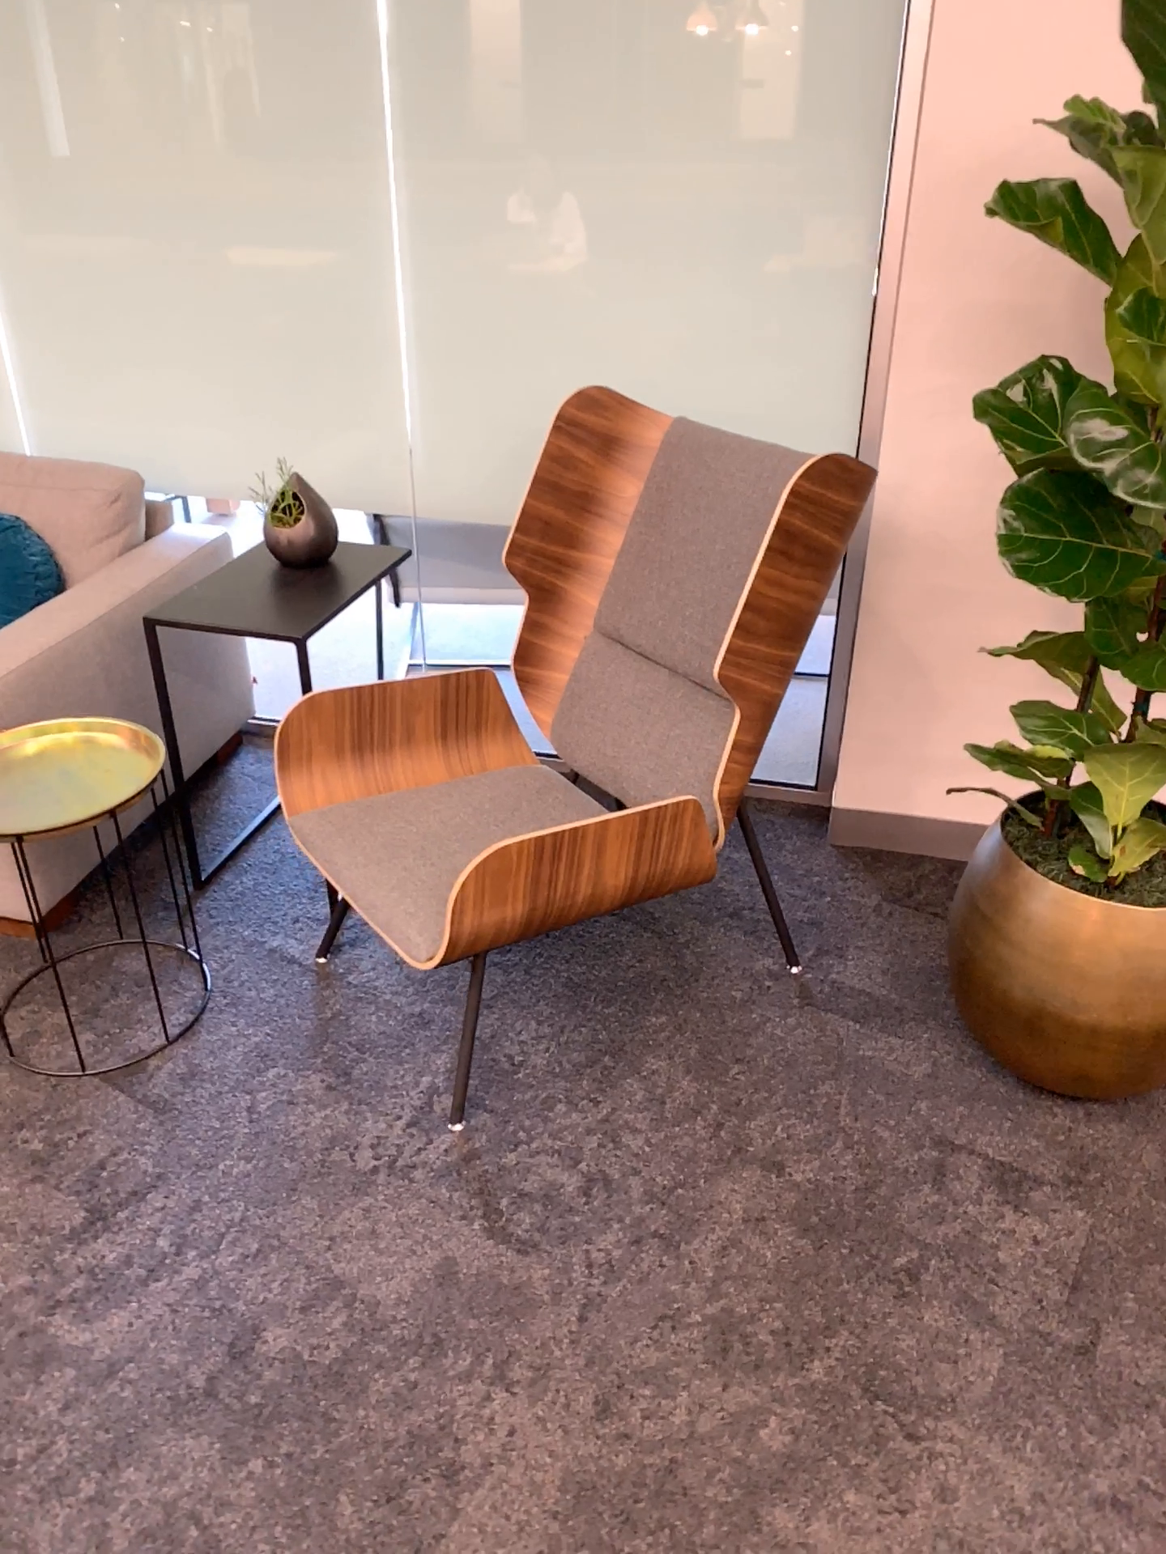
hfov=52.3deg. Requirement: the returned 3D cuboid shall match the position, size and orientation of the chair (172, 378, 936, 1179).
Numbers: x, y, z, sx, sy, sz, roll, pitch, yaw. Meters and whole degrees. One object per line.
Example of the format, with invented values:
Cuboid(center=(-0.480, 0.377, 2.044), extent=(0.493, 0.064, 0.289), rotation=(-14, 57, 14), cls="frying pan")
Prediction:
Cuboid(center=(-0.072, -0.104, 2.203), extent=(0.931, 0.994, 0.884), rotation=(-19, 34, -31), cls="chair")
